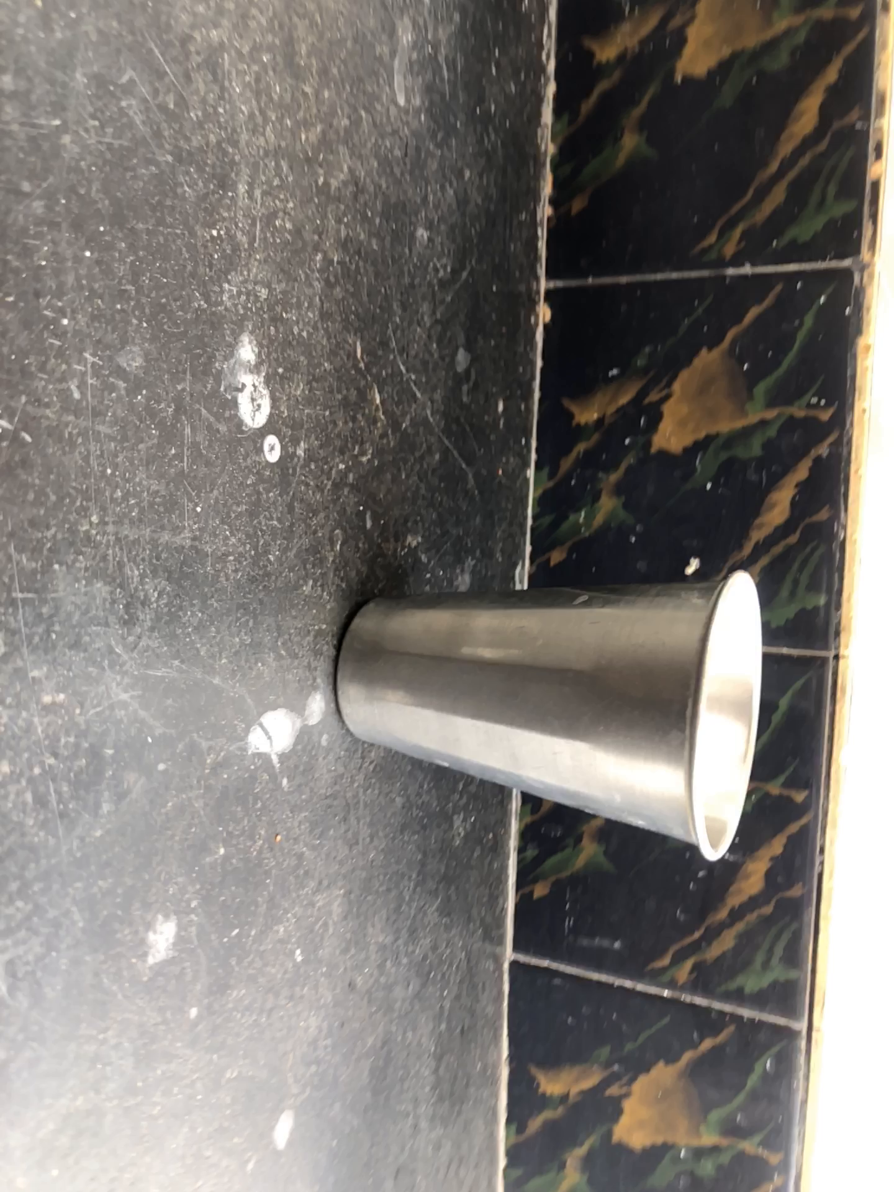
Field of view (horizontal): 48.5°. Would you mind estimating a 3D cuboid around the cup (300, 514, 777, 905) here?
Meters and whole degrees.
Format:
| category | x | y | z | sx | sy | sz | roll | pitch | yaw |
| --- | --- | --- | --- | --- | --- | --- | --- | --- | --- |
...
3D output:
| category | x | y | z | sx | sy | sz | roll | pitch | yaw |
| --- | --- | --- | --- | --- | --- | --- | --- | --- | --- |
| cup | 0.031 | 0.027 | 0.300 | 0.070 | 0.119 | 0.080 | -42 | 131 | -55 |
